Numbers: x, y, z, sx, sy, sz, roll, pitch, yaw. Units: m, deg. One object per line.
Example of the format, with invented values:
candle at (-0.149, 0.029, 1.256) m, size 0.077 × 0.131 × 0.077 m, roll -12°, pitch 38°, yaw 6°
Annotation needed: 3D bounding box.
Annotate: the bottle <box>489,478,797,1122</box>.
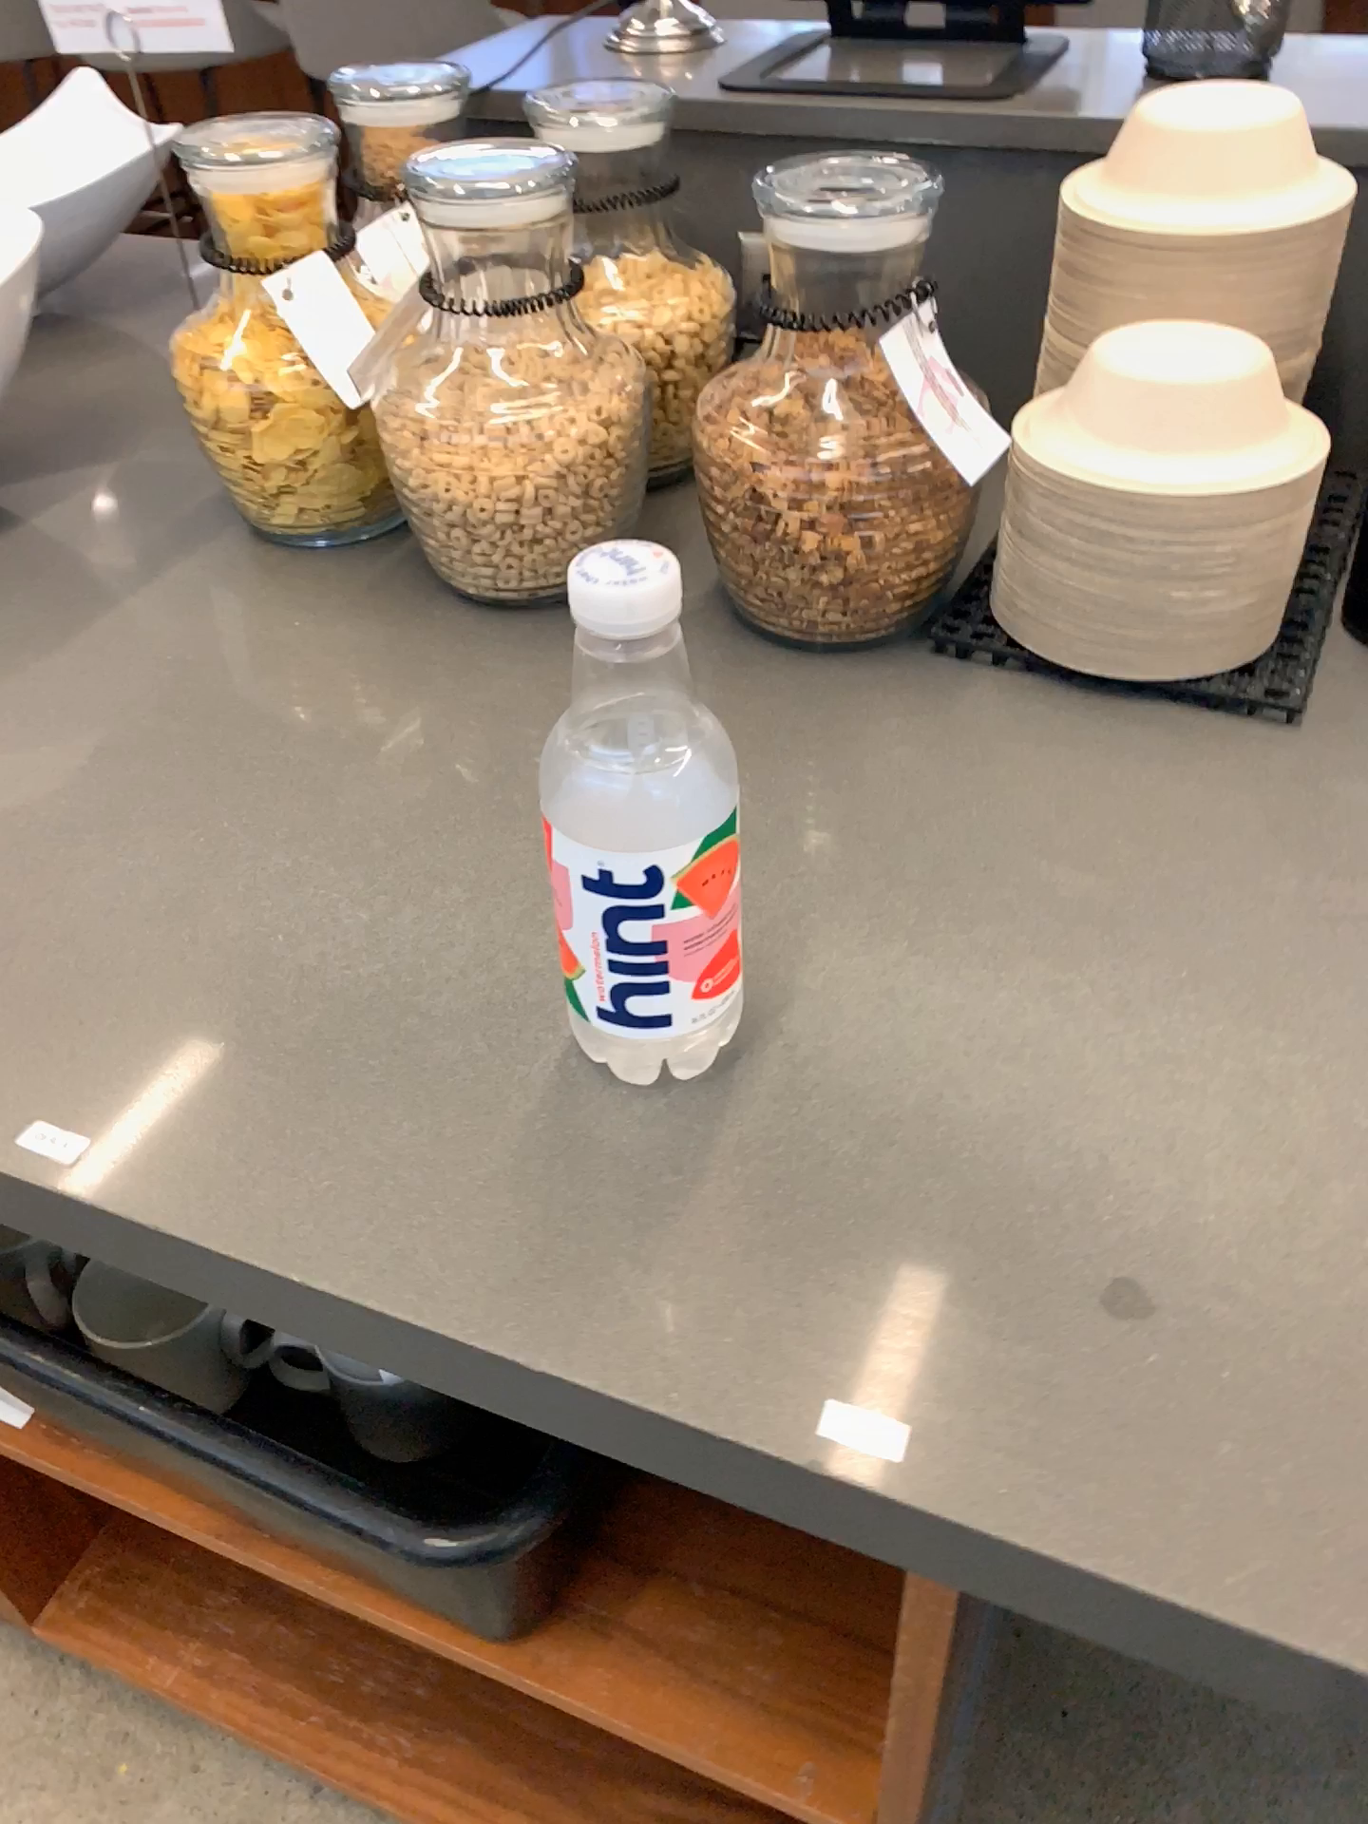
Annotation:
bottle at (-0.010, -0.031, 0.472) m, size 0.070 × 0.199 × 0.070 m, roll -2°, pitch 40°, yaw 1°
